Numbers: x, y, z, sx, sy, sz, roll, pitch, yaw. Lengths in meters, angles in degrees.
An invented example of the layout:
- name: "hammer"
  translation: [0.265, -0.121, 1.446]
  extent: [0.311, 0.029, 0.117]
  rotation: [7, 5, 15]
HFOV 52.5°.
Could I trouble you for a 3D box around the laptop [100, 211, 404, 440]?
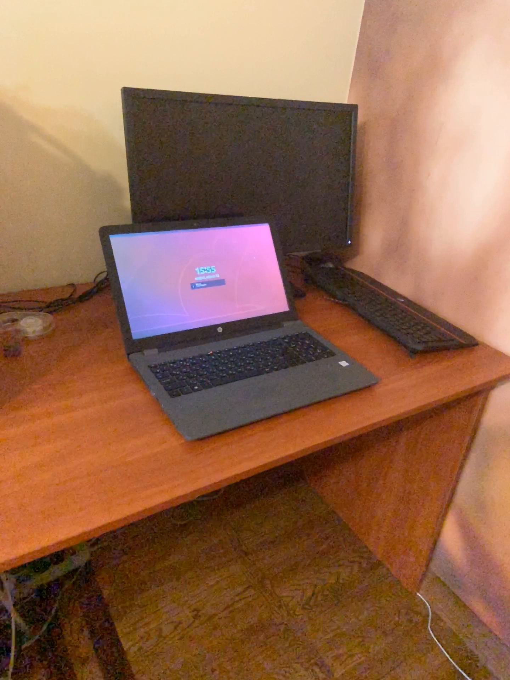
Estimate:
- name: "laptop"
  translation: [-0.026, -0.066, 0.897]
  extent: [0.366, 0.181, 0.376]
  rotation: [-12, 34, -31]
